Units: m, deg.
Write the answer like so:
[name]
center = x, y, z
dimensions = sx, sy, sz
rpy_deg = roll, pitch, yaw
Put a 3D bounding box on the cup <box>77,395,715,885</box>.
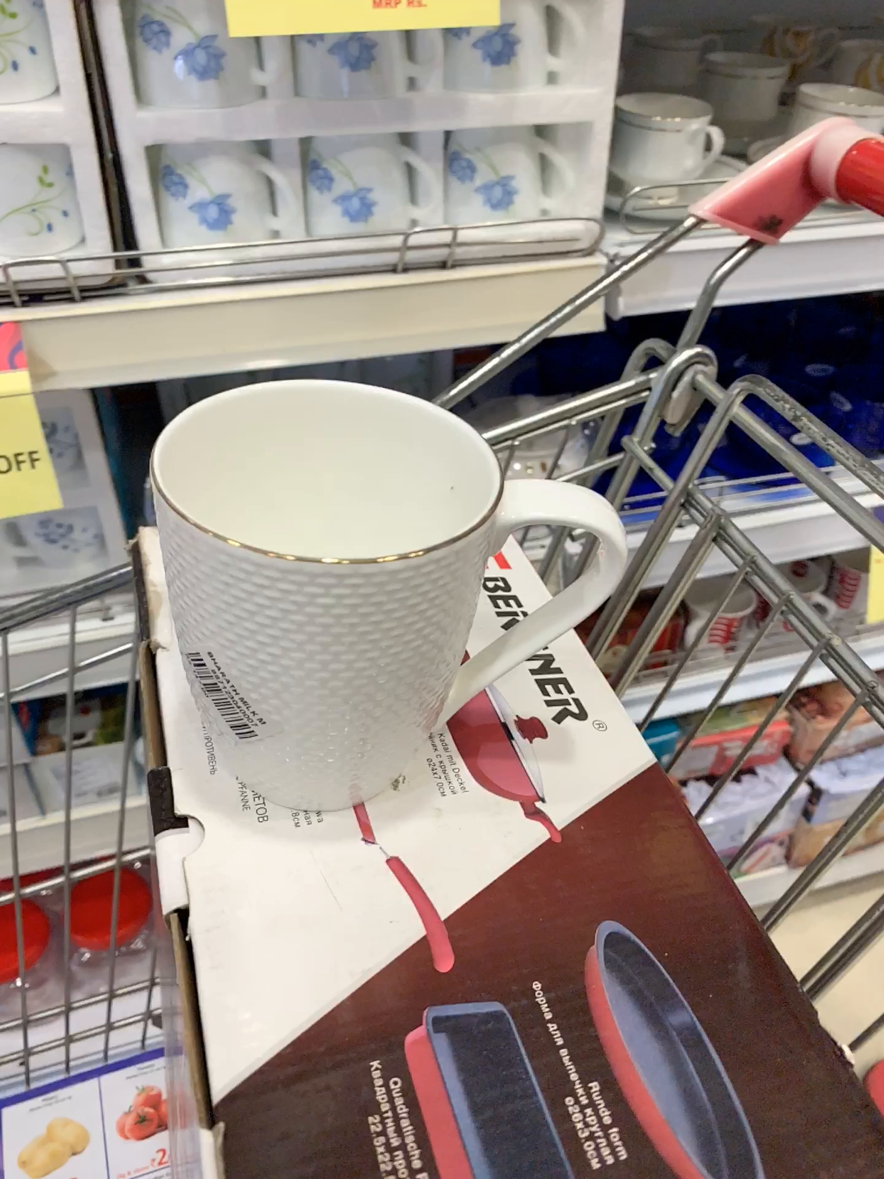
[cup]
center = -0.013, 0.009, 0.232
dimensions = 0.120, 0.080, 0.090
rpy_deg = 0, 40, -7
